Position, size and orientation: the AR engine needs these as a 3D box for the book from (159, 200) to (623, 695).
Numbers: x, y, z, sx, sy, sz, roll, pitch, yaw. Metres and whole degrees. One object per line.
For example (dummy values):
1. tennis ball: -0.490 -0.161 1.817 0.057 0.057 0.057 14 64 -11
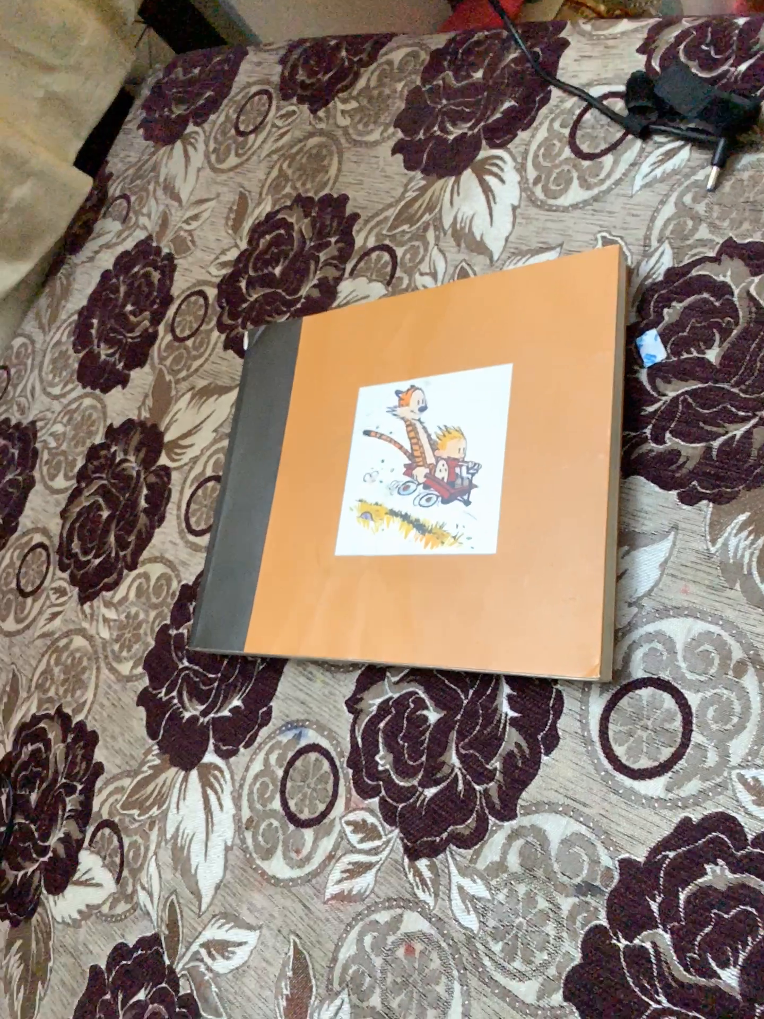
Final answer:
1. book: 0.000 -0.033 0.479 0.271 0.040 0.261 -4 69 33
